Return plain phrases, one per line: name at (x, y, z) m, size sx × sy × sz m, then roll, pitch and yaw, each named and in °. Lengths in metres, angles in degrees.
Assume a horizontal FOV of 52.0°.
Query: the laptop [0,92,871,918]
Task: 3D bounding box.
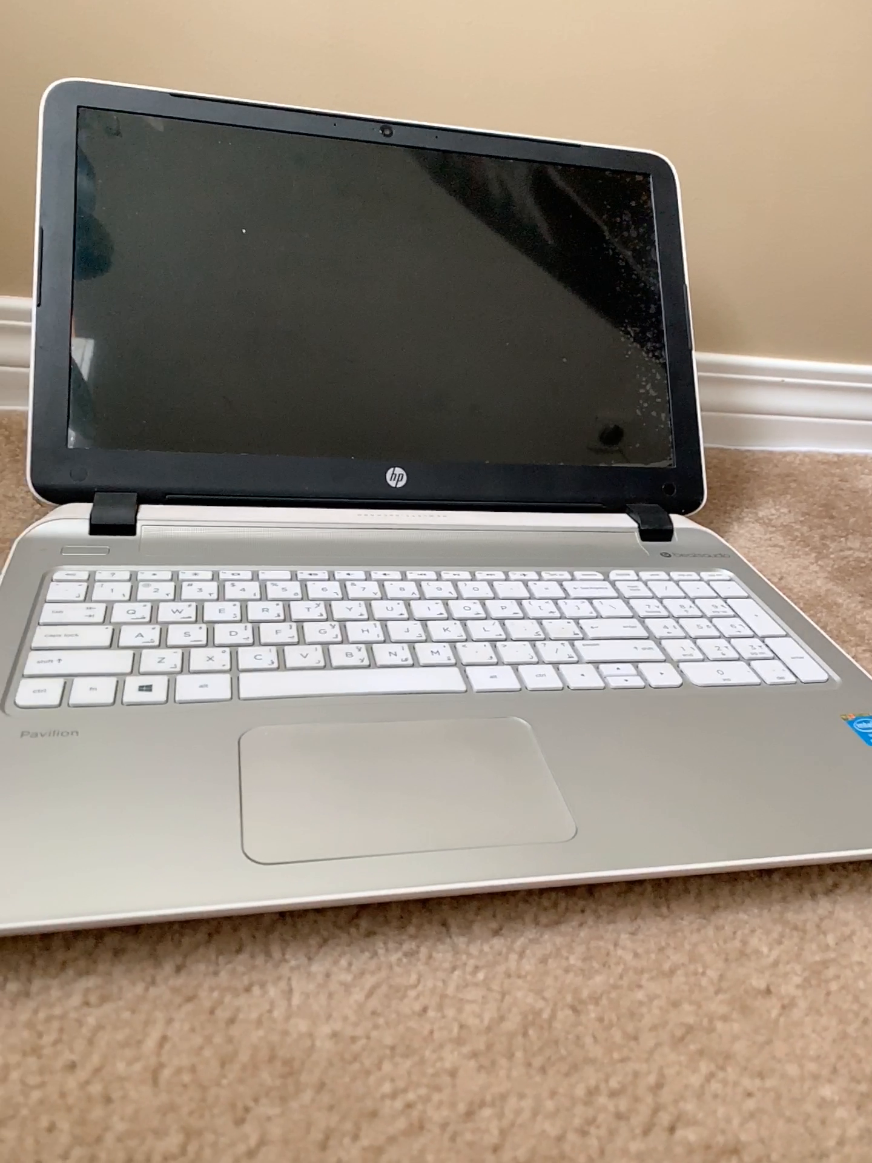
laptop at (0.004, -0.079, 0.383) m, size 0.349 × 0.187 × 0.351 m, roll -1°, pitch 29°, yaw -13°
